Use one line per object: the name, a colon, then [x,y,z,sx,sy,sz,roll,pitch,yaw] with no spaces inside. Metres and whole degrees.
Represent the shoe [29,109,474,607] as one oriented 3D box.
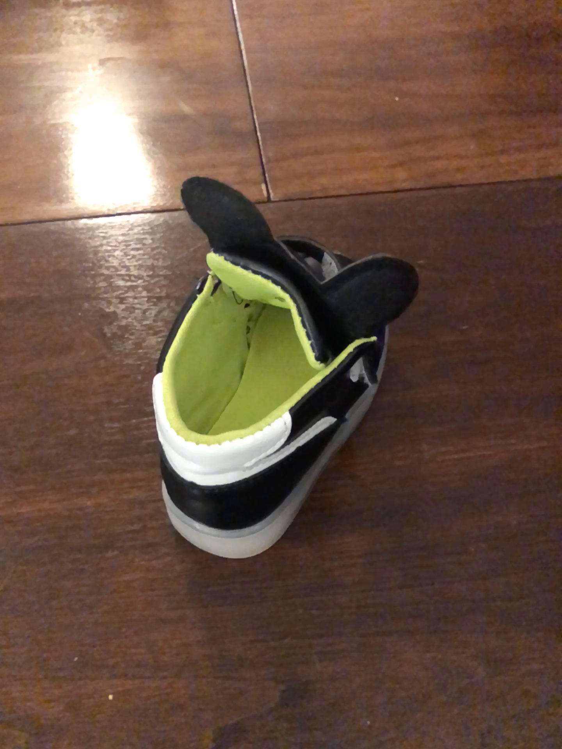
shoe: [-0.001,-0.010,0.251,0.090,0.100,0.150,22,58,14]
